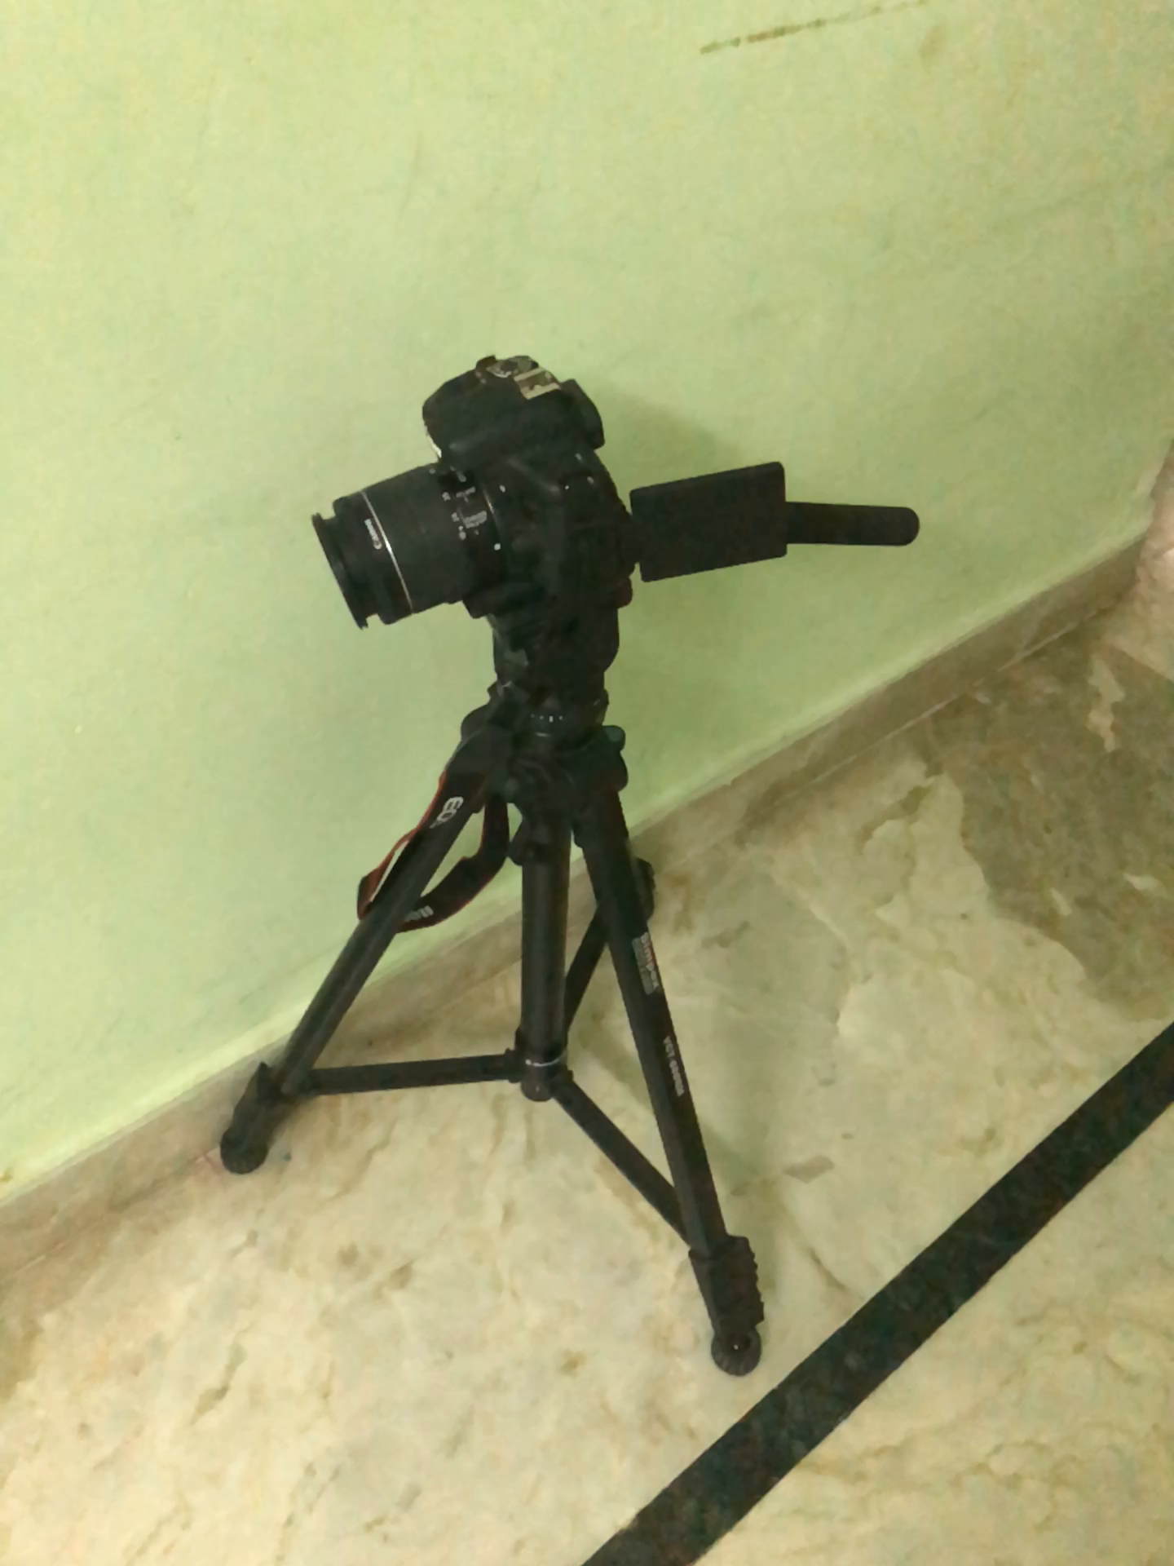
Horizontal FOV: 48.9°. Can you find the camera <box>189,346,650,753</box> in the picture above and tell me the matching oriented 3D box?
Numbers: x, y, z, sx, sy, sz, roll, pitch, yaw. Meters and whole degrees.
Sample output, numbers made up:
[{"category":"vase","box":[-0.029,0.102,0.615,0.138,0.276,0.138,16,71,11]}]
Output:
[{"category":"camera","box":[-0.083,-0.127,0.674,0.190,0.099,0.131,-24,51,-17]}]
